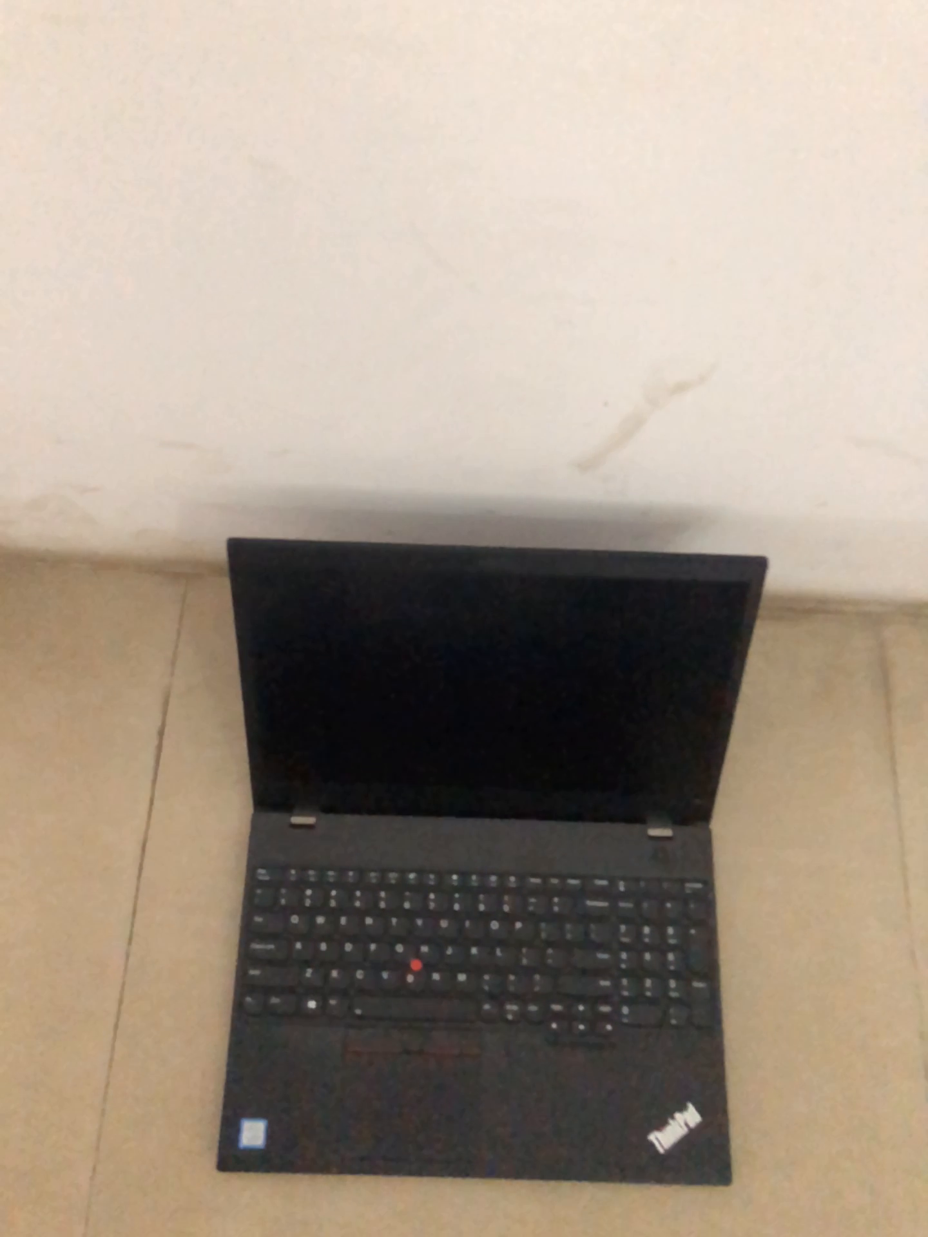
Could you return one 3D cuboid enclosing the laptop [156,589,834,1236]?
[{"bbox_3d":[0.018,0.186,0.683,0.344,0.193,0.363,3,65,-2],"label":"laptop"}]
